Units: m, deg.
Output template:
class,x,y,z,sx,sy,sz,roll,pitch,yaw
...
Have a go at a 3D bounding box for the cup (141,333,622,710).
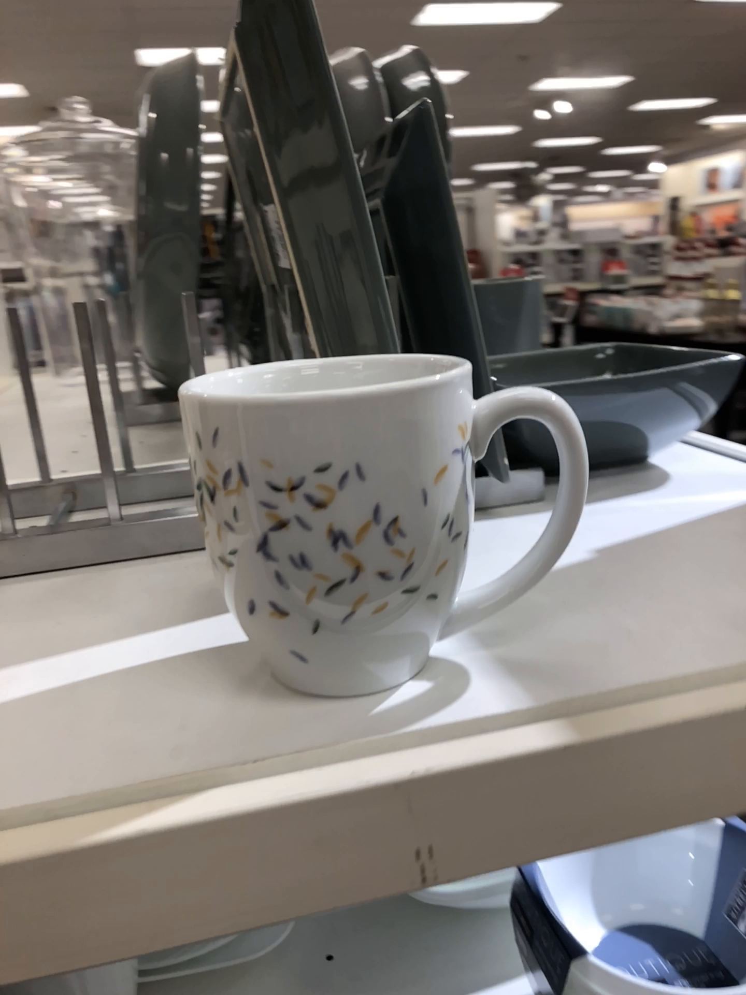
class,x,y,z,sx,sy,sz,roll,pitch,yaw
cup,0.004,0.000,0.276,0.127,0.091,0.093,-5,15,-2
